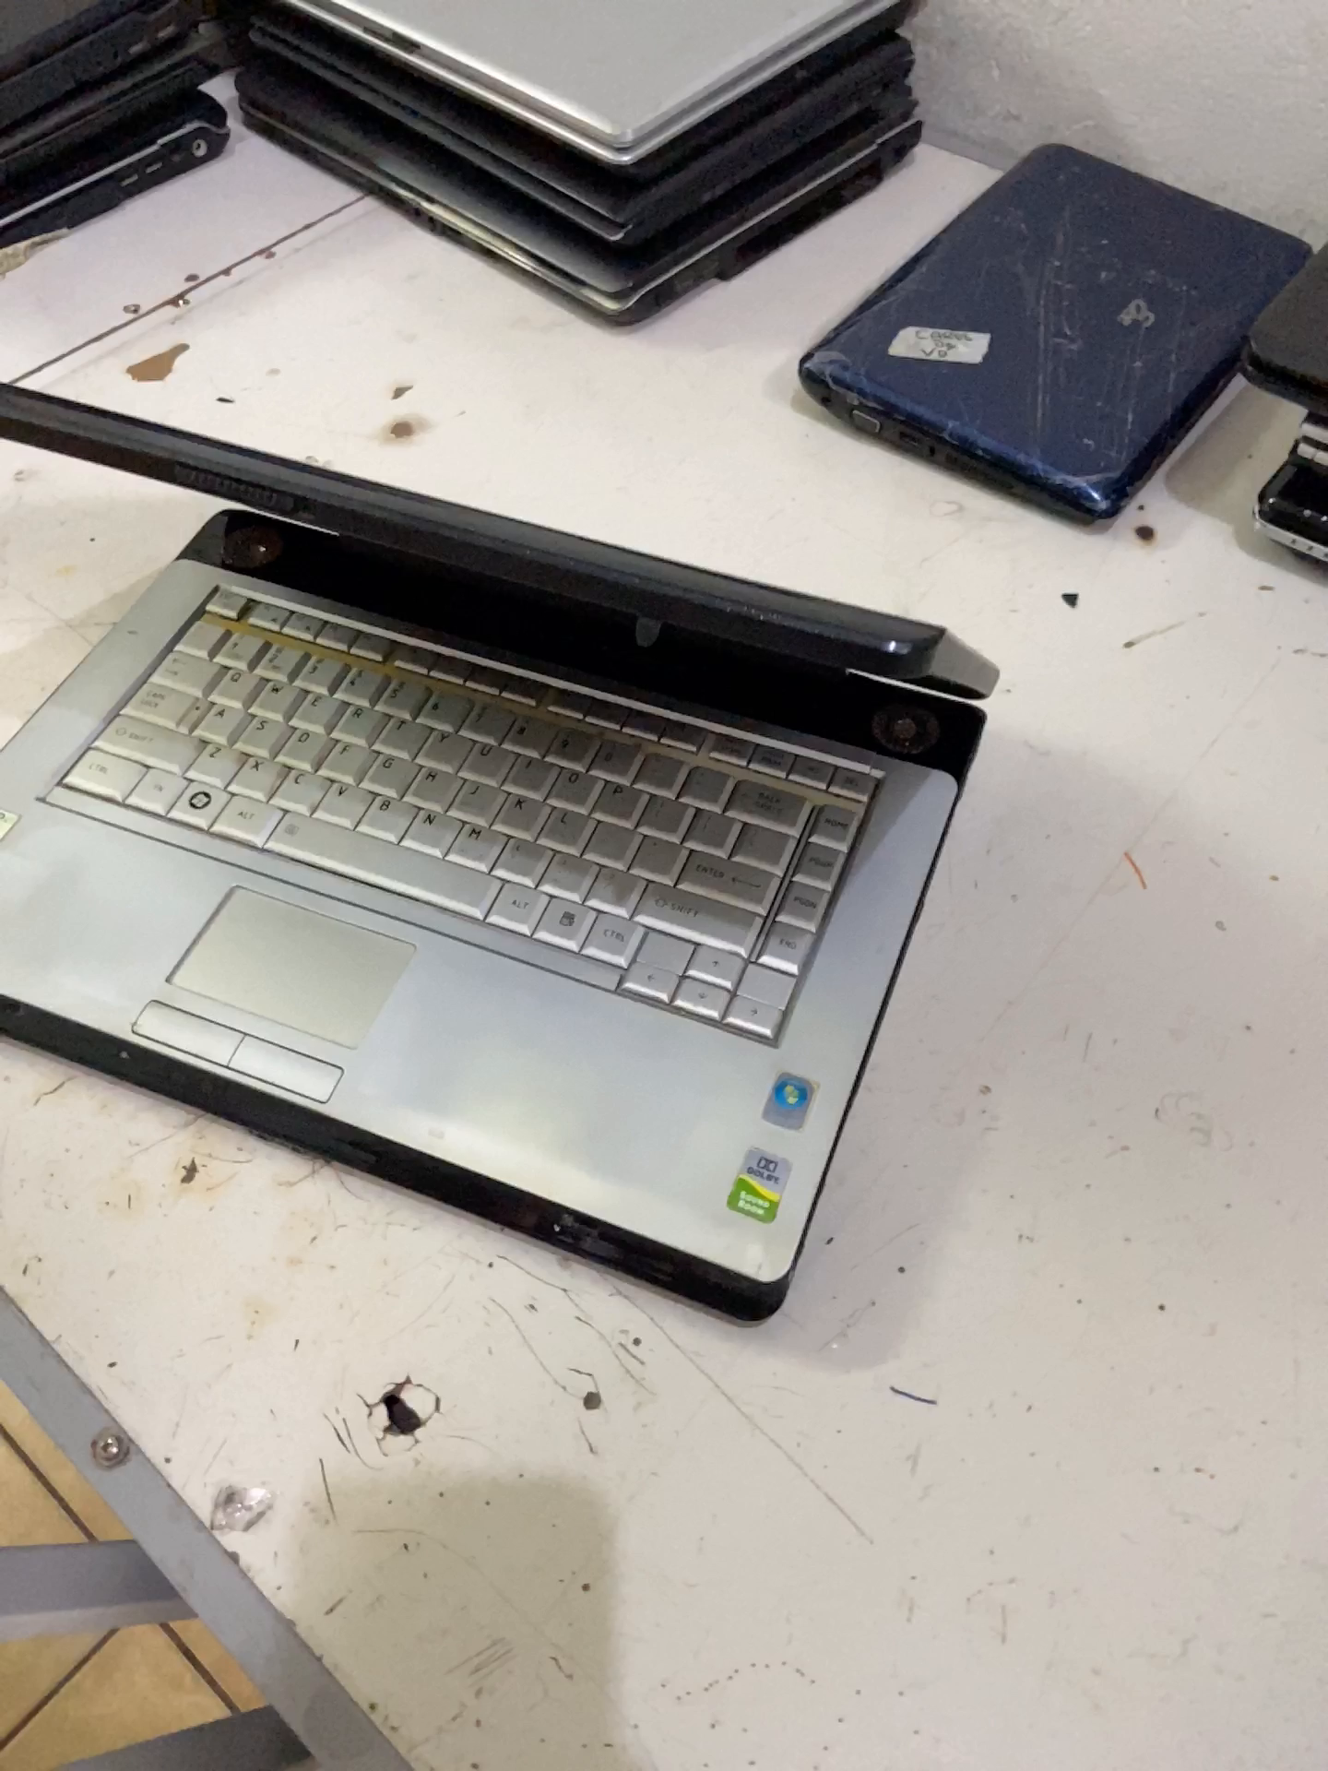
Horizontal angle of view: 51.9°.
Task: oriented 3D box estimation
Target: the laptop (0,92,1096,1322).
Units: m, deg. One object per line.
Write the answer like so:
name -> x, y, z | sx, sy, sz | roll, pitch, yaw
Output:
laptop -> -0.087, -0.074, 0.444 | 0.356, 0.185, 0.257 | 17, 58, 14
